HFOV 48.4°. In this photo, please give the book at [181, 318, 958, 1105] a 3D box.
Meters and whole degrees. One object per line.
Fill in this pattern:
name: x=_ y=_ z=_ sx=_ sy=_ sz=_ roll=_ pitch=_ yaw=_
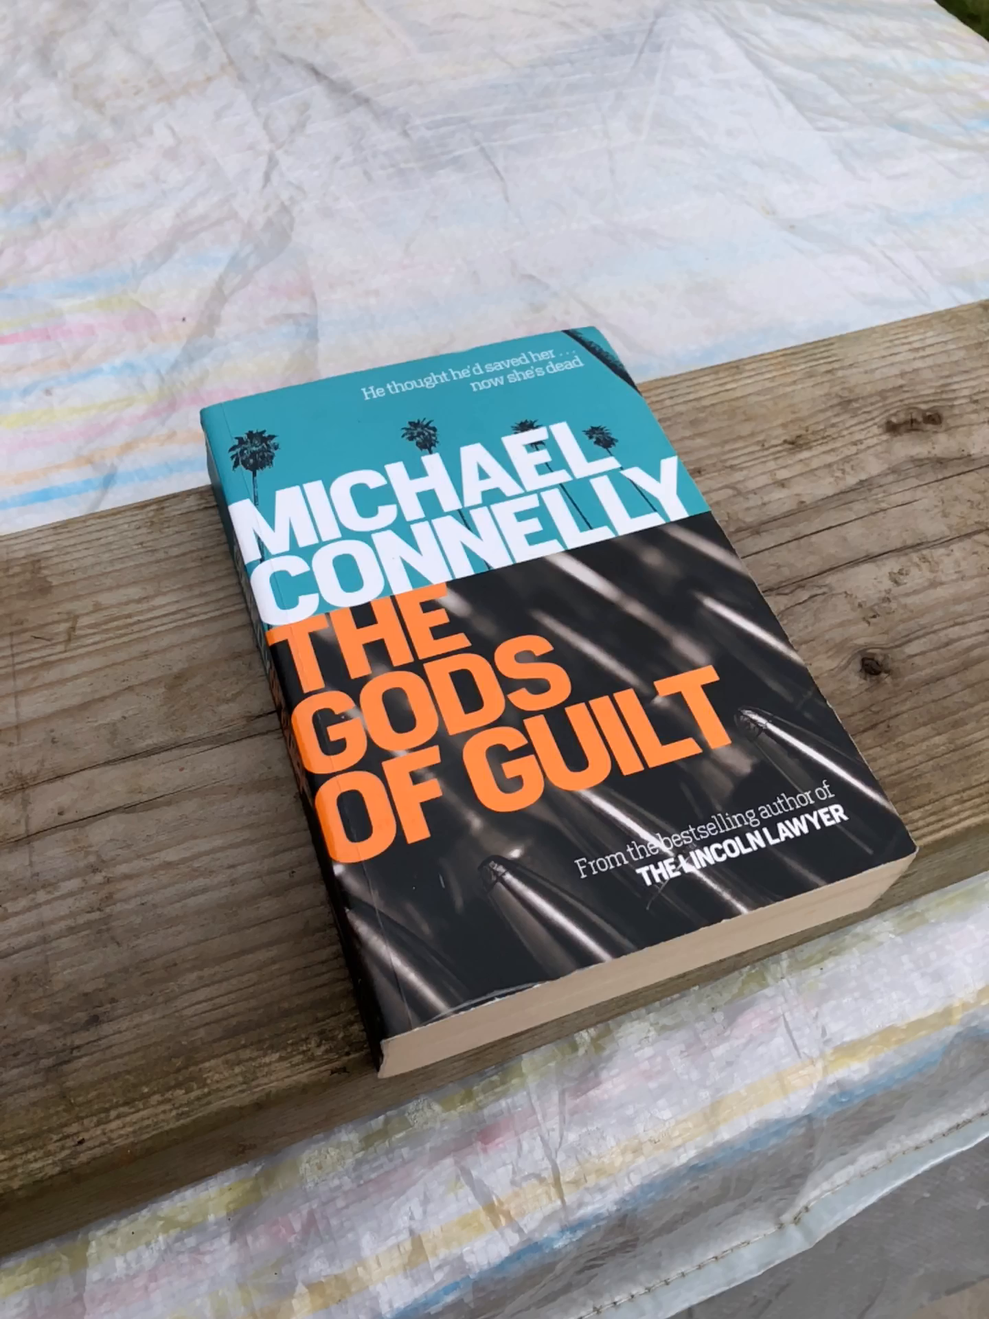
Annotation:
book: x=0.006 y=-0.005 z=0.306 sx=0.140 sy=0.040 sz=0.201 roll=-15 pitch=57 yaw=-14
